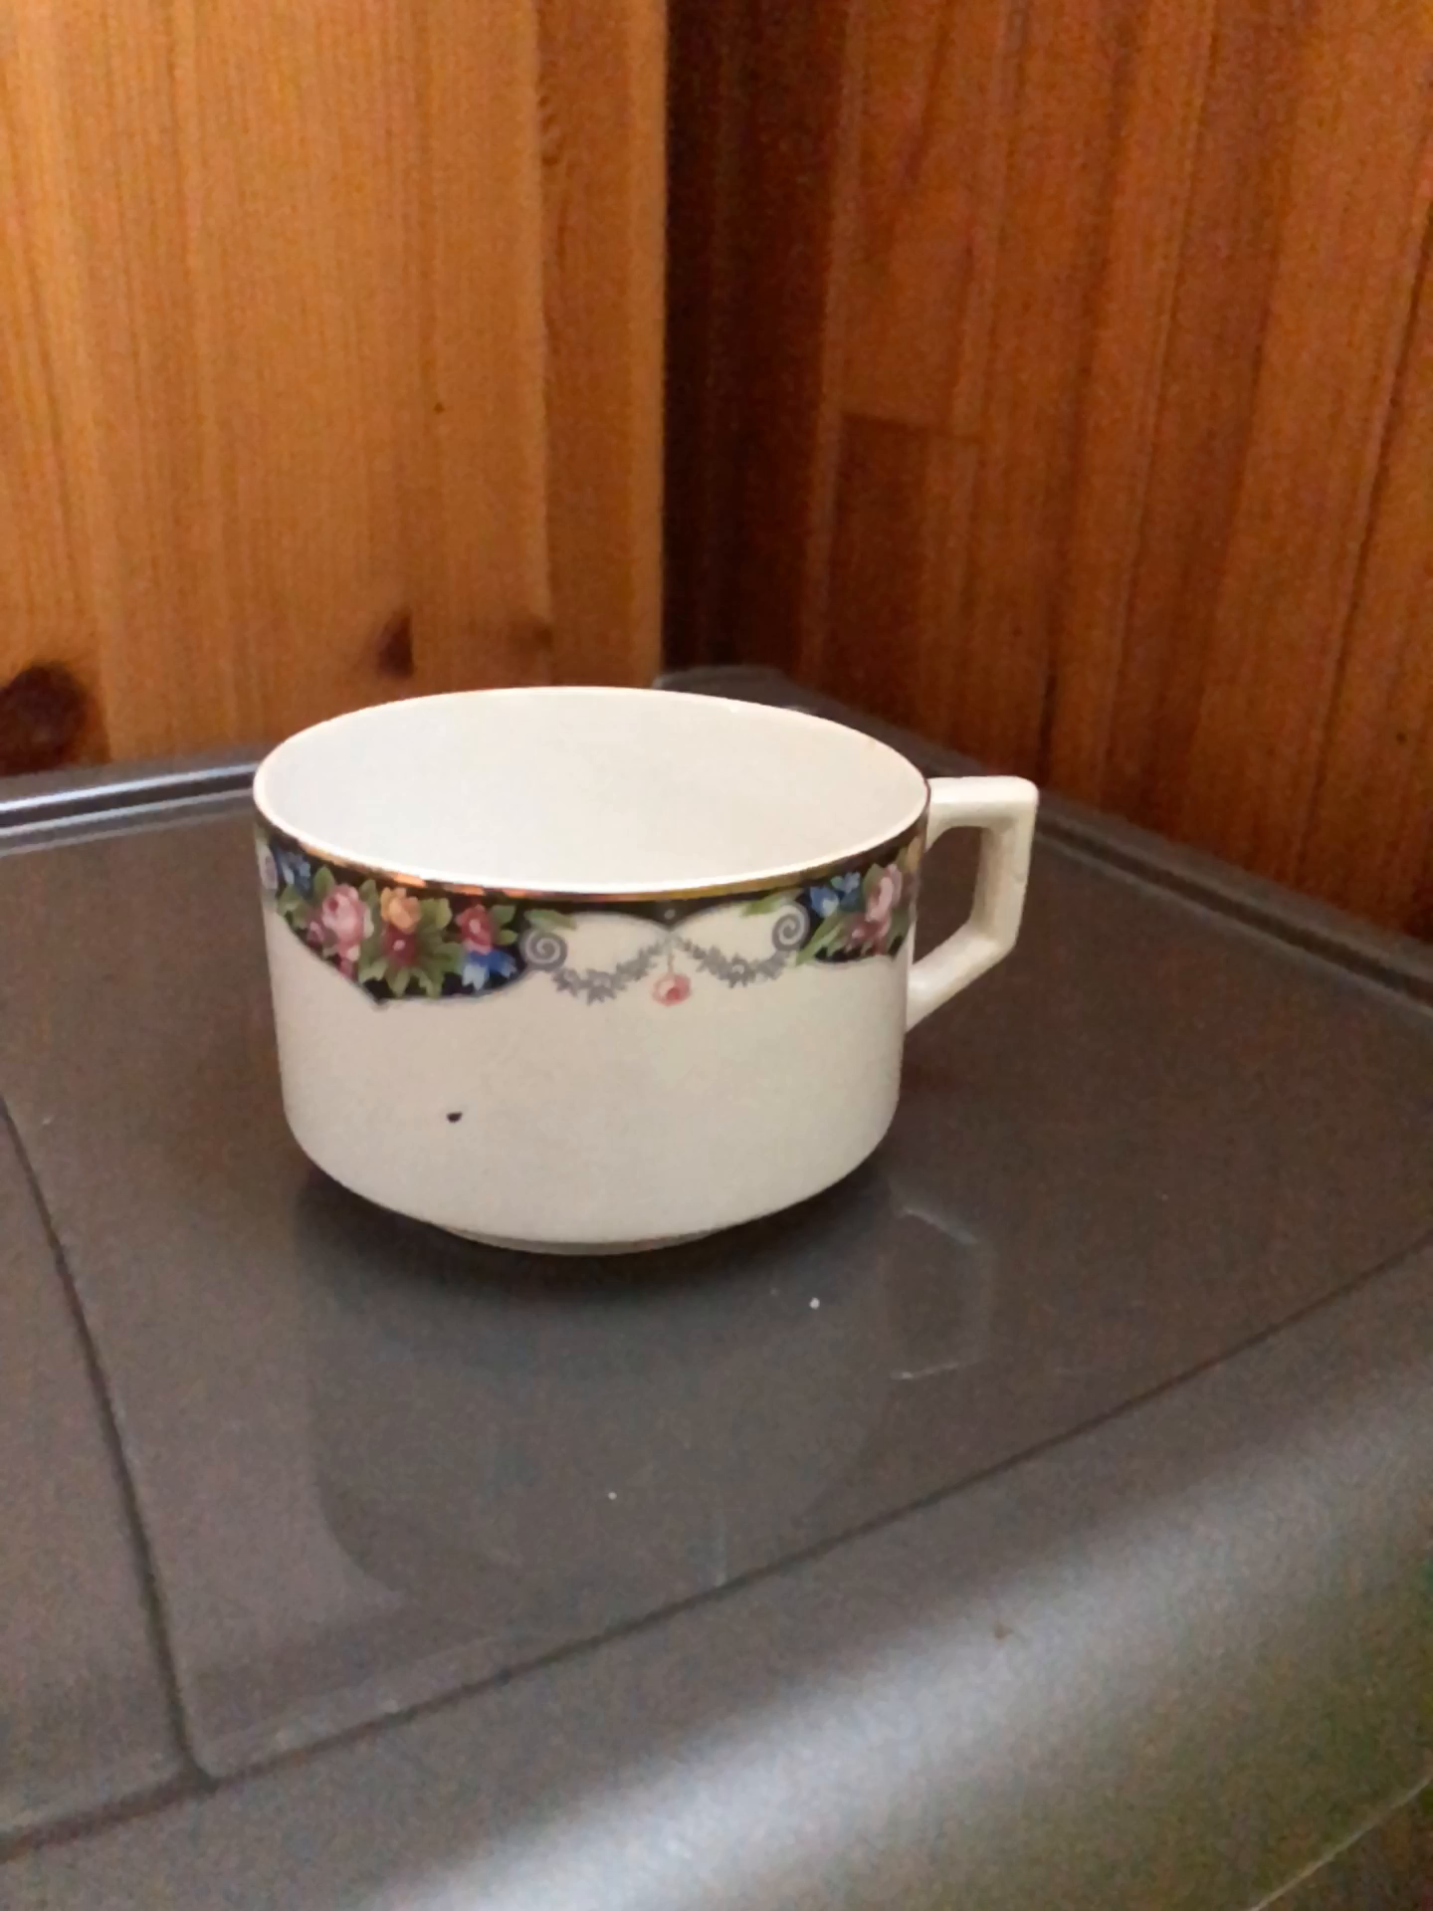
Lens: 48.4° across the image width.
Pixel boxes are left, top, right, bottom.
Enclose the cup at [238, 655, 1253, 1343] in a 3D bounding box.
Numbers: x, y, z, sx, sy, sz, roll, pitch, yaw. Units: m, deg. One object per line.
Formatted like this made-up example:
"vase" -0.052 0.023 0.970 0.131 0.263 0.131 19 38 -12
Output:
"cup" -0.004 -0.004 0.257 0.130 0.060 0.100 -6 25 -18
